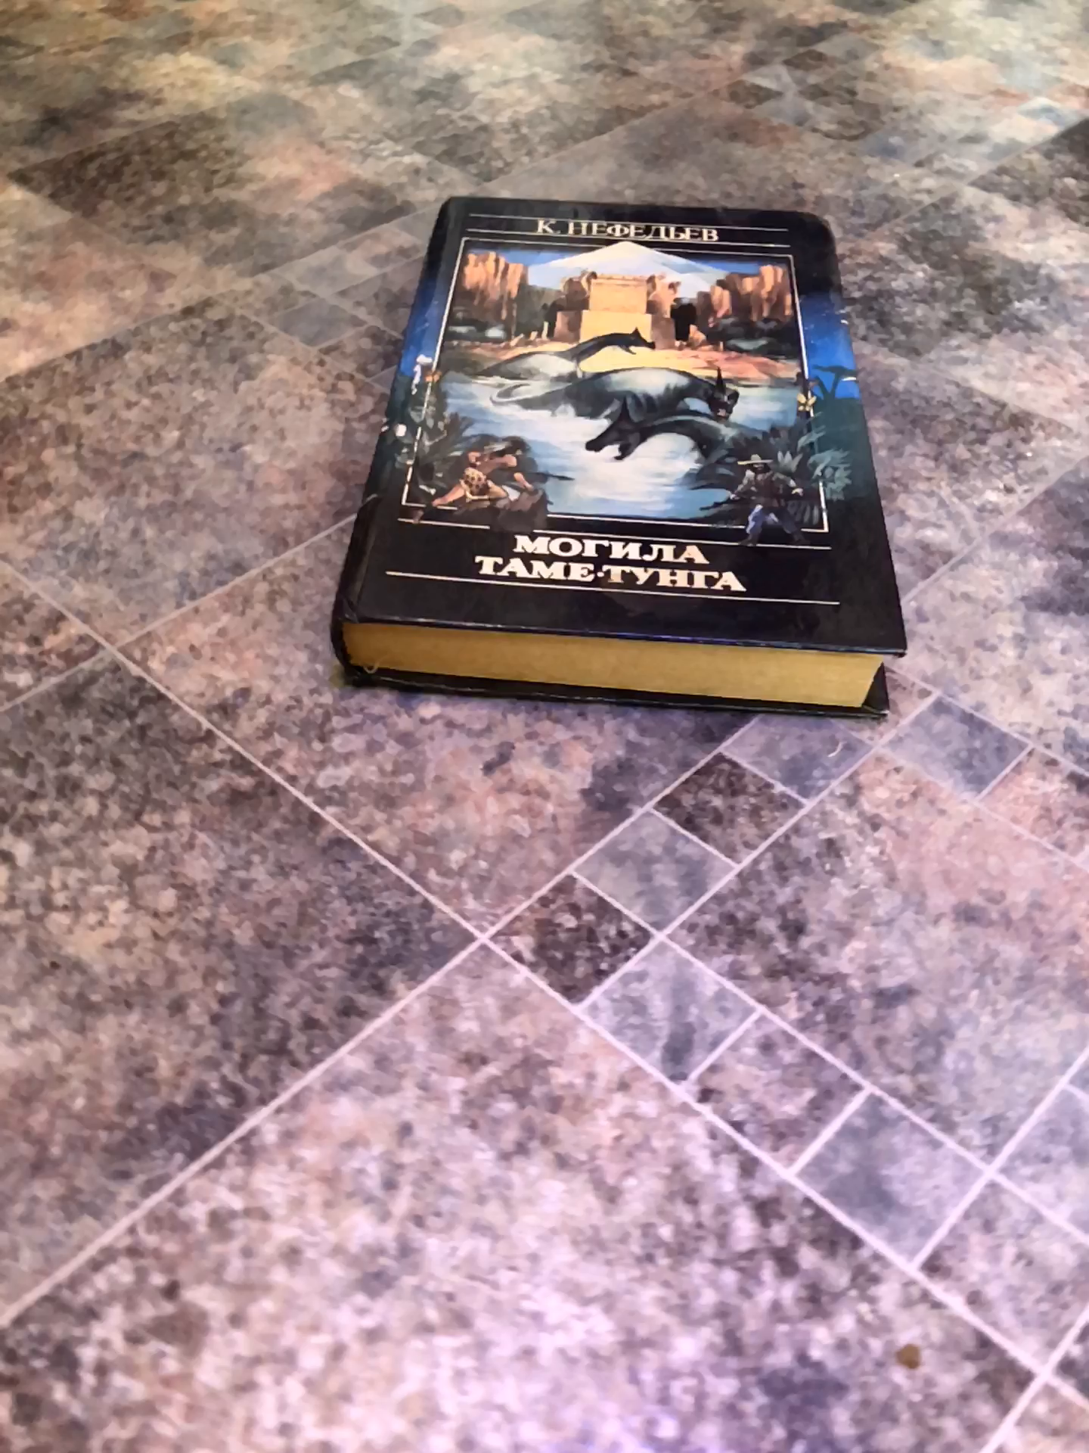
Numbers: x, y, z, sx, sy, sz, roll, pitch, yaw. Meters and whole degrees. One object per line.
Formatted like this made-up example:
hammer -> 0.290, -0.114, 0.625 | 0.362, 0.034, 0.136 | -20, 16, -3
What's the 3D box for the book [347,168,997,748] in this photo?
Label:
book -> 0.034, -0.087, 0.333 | 0.139, 0.030, 0.202 | 4, 50, 2
